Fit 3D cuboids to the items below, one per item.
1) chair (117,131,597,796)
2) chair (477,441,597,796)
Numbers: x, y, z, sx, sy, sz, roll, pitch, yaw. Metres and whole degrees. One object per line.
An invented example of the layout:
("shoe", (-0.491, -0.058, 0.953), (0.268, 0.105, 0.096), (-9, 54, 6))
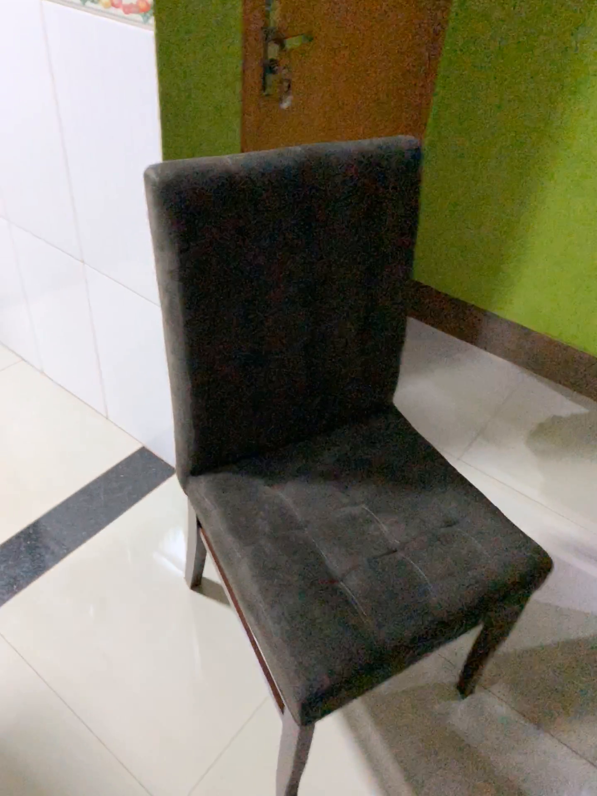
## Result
("chair", (0.068, 0.155, 1.069), (0.492, 0.981, 0.573), (-18, 46, -26))
("chair", (0.670, 0.661, 0.569), (0.571, 0.971, 0.524), (30, 46, 26))
